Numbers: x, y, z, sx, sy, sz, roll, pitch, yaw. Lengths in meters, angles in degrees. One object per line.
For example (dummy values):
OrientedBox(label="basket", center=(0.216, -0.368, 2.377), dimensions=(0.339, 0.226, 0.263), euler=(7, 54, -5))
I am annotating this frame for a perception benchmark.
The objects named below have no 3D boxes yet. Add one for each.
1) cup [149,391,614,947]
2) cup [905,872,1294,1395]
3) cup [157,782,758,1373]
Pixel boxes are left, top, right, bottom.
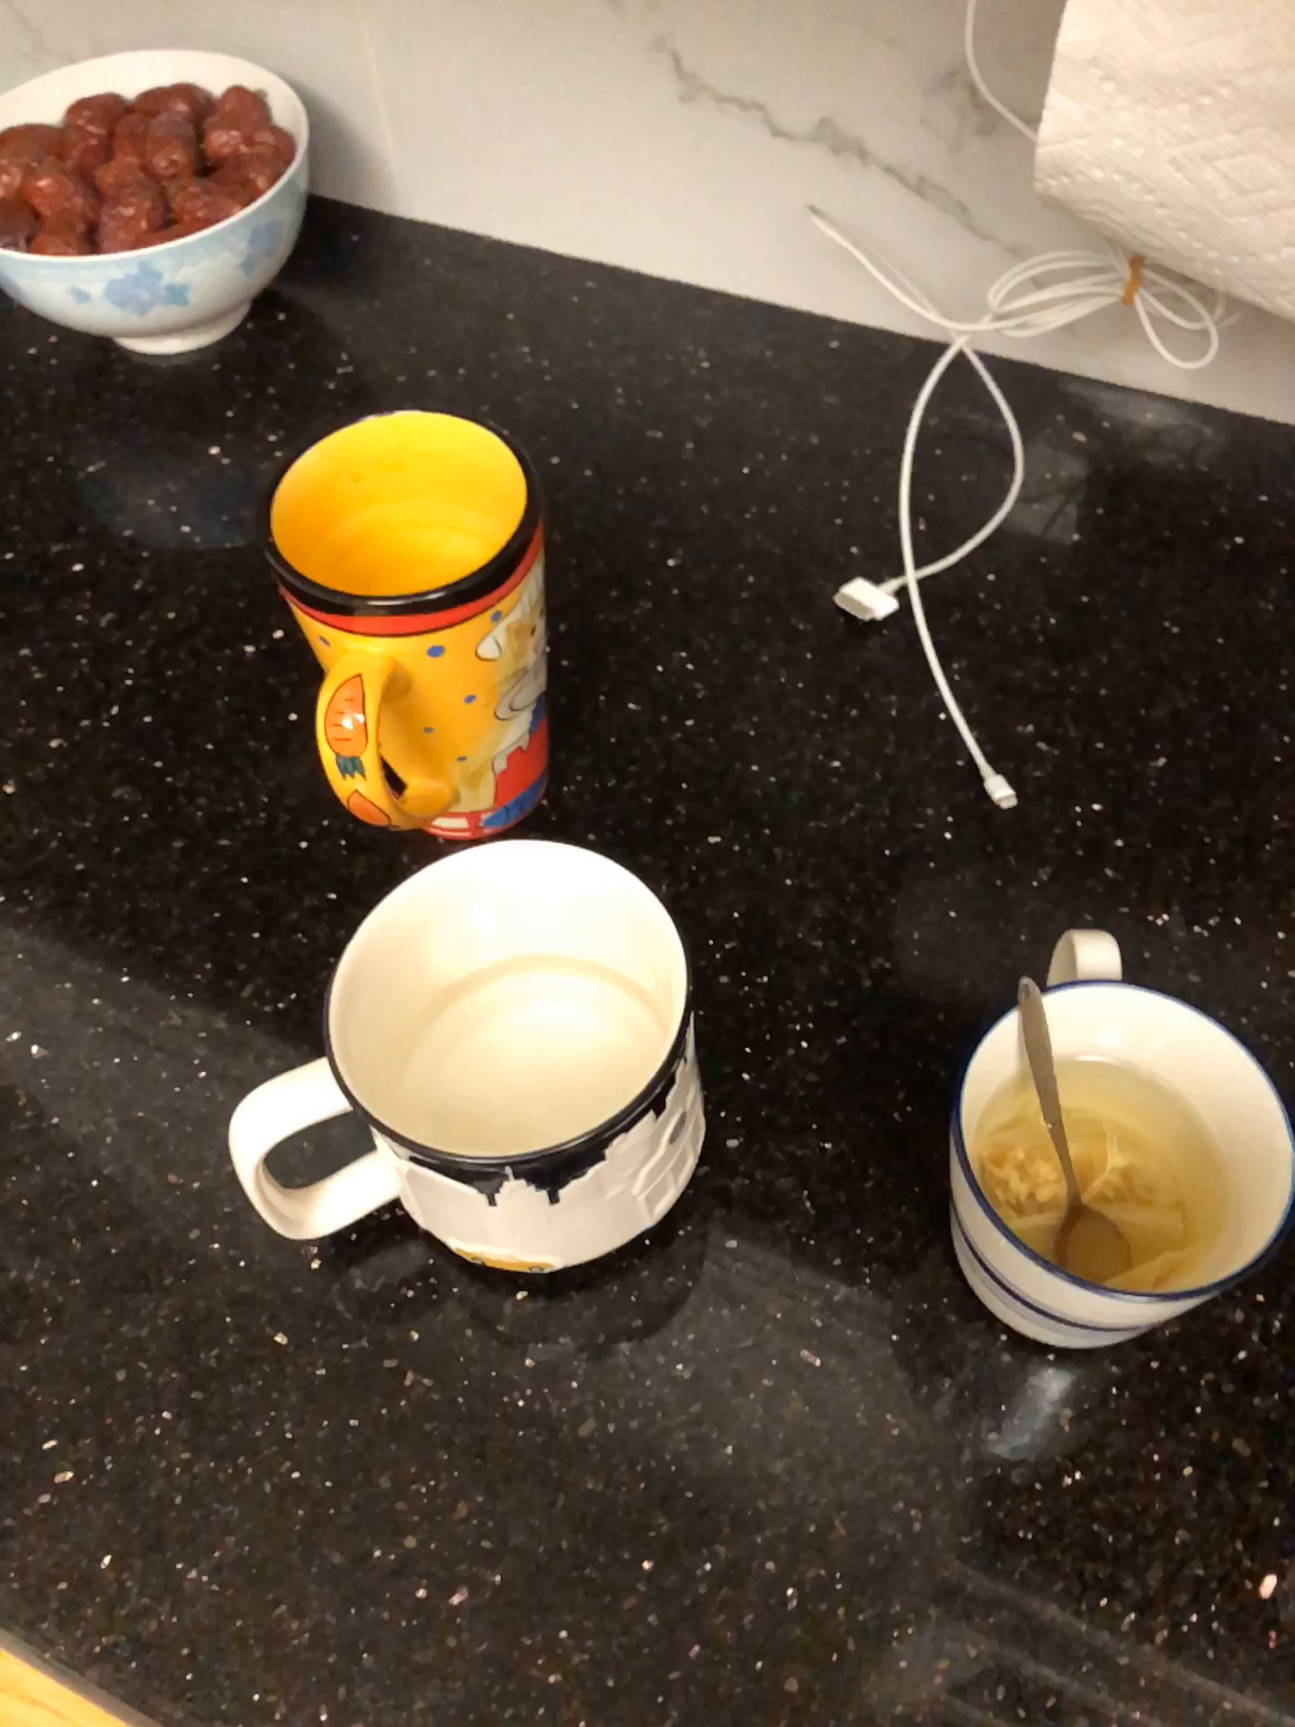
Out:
OrientedBox(label="cup", center=(-0.079, -0.068, 0.488), dimensions=(0.100, 0.100, 0.151), euler=(7, 57, 8))
OrientedBox(label="cup", center=(0.123, 0.073, 0.400), dimensions=(0.090, 0.060, 0.120), euler=(5, 57, 7))
OrientedBox(label="cup", center=(-0.054, 0.062, 0.421), dimensions=(0.140, 0.080, 0.110), euler=(-18, 57, -8))
